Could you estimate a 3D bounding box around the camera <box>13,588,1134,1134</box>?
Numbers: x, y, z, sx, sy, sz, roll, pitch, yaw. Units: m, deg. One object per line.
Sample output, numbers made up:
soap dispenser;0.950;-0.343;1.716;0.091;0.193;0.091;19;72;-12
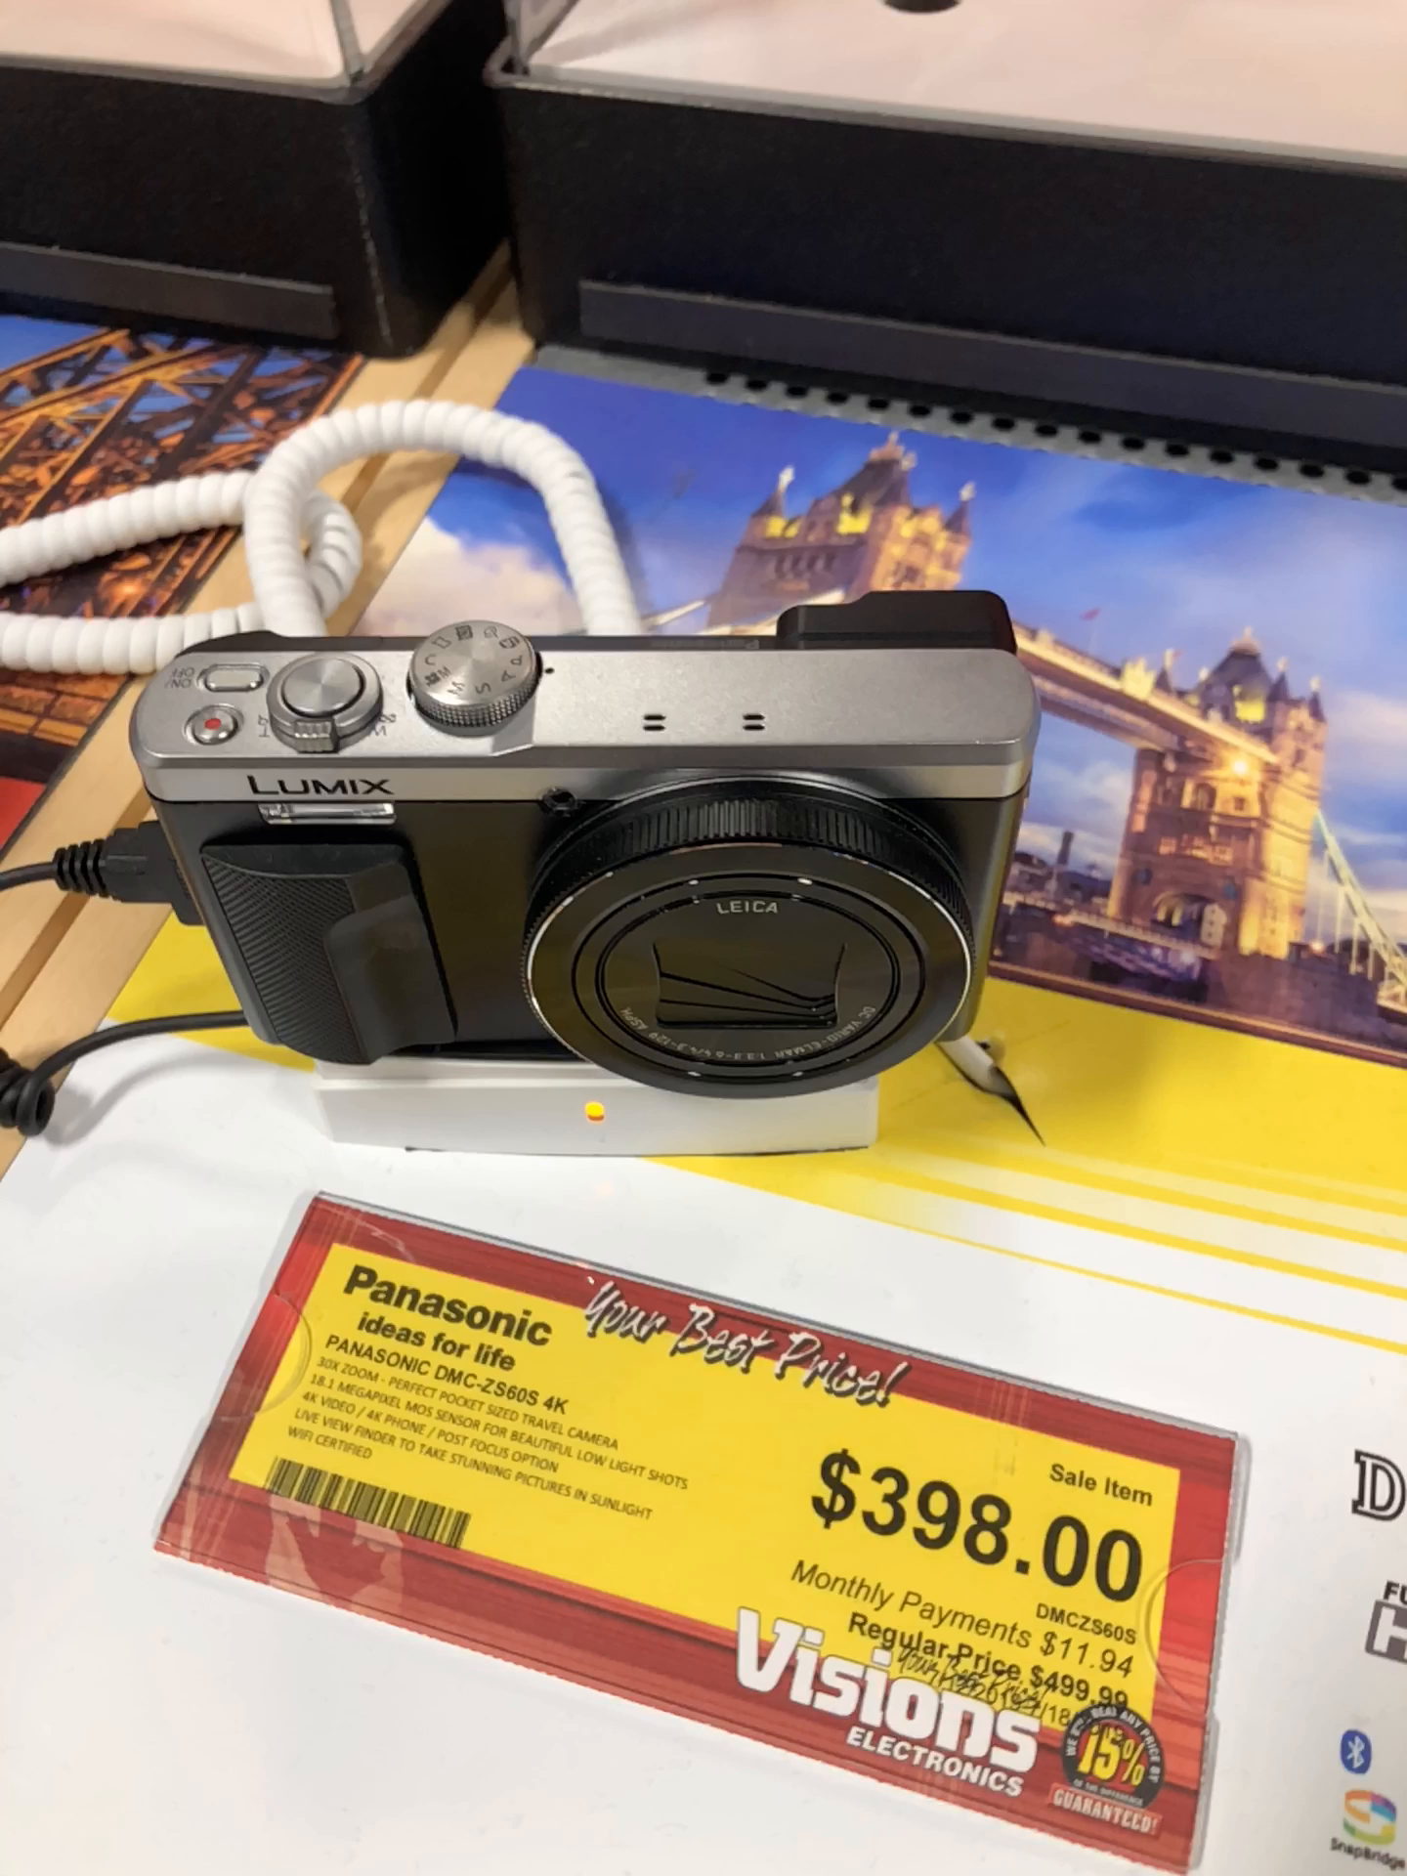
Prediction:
camera;-0.013;-0.008;0.203;0.120;0.060;0.040;-1;53;3
